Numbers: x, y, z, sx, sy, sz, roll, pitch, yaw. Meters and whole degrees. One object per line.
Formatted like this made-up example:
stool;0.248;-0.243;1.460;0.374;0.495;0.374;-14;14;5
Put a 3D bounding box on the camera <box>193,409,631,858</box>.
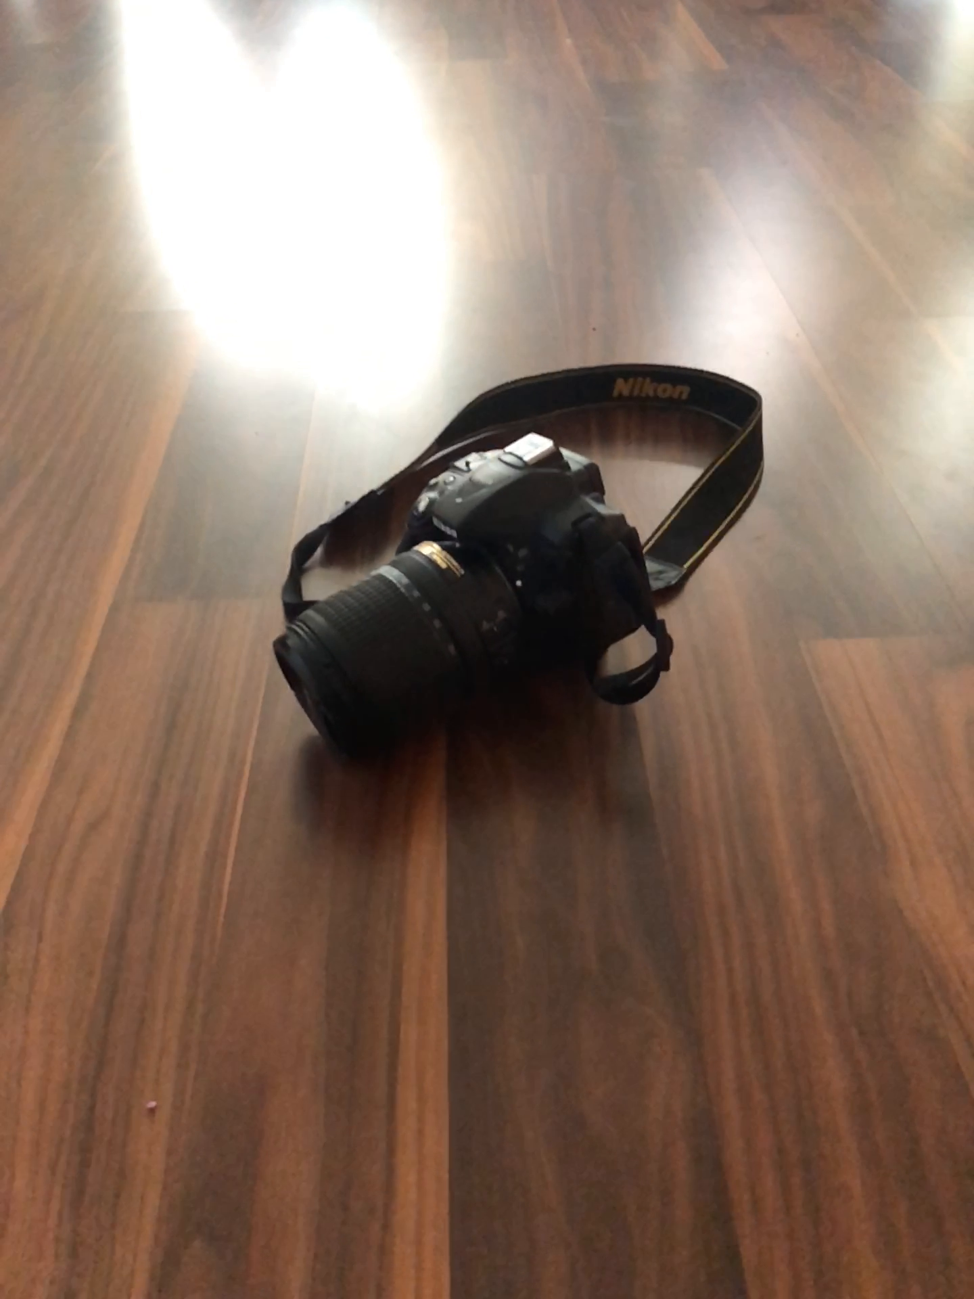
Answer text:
camera;-0.030;-0.013;0.557;0.180;0.129;0.110;-30;48;-22
